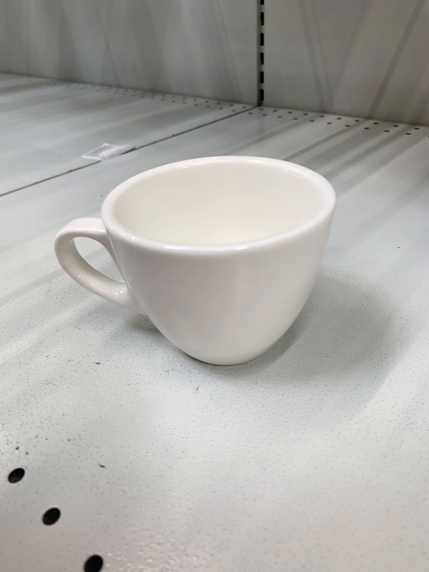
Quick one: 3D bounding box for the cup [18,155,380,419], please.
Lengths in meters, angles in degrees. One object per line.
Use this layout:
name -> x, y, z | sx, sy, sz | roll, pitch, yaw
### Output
cup -> 0.002, -0.010, 0.209 | 0.128, 0.072, 0.097 | 5, 34, 13
